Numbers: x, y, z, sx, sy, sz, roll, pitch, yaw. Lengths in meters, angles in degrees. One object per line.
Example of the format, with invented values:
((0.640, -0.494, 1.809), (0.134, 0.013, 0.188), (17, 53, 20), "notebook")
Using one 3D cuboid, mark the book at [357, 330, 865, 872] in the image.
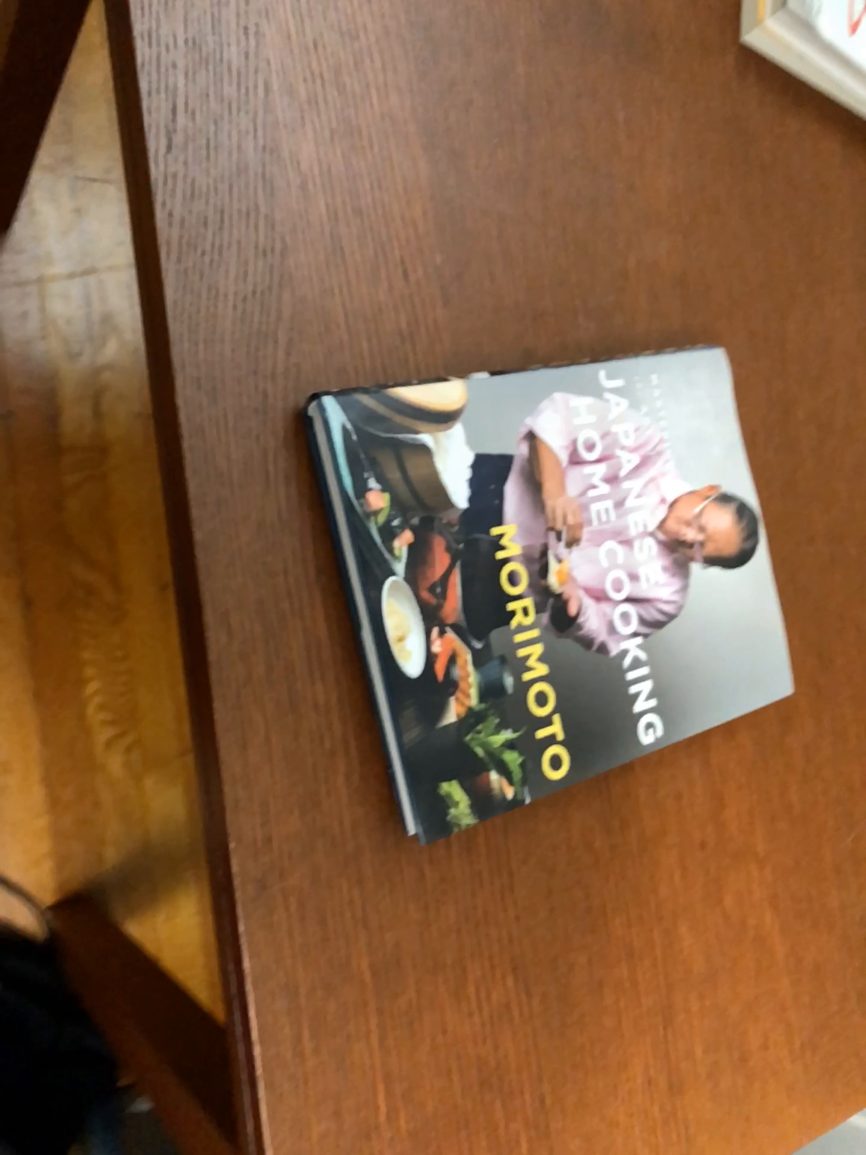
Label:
((0.123, -0.008, 0.508), (0.301, 0.030, 0.220), (-14, 92, -31), "book")
